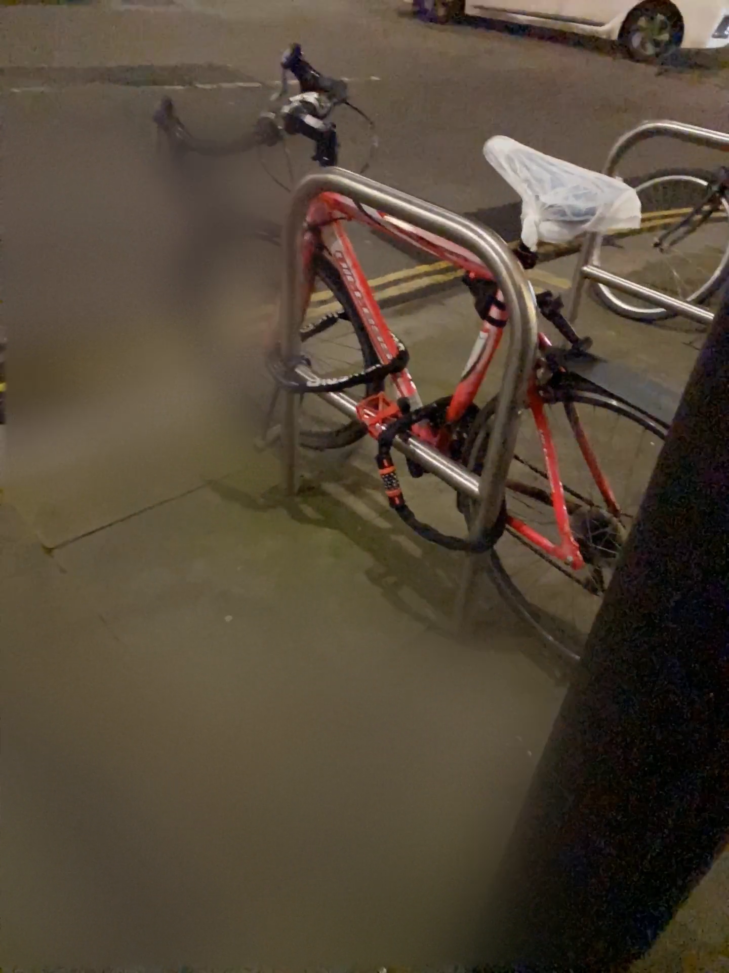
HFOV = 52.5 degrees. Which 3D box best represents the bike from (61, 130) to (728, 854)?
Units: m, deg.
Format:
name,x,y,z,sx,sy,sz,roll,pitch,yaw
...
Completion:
name,x,y,z,sx,sy,sz,roll,pitch,yaw
bike,0.039,-0.164,1.659,0.539,0.810,1.664,-28,48,-35
